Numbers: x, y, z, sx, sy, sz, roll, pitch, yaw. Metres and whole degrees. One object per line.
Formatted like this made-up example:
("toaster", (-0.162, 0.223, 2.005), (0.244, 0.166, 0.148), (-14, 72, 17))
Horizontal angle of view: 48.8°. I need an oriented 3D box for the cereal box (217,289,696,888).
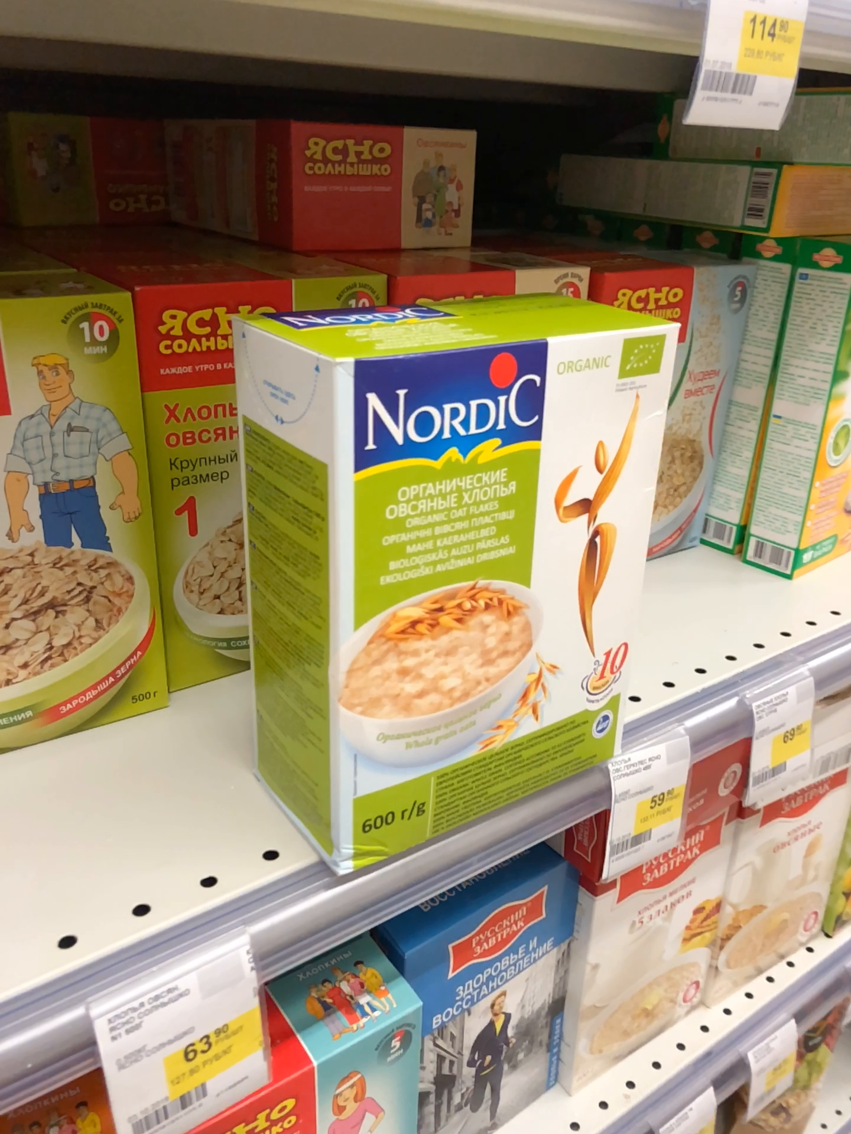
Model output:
("cereal box", (0.011, -0.002, 0.367), (0.150, 0.189, 0.080), (-14, 28, -32))
